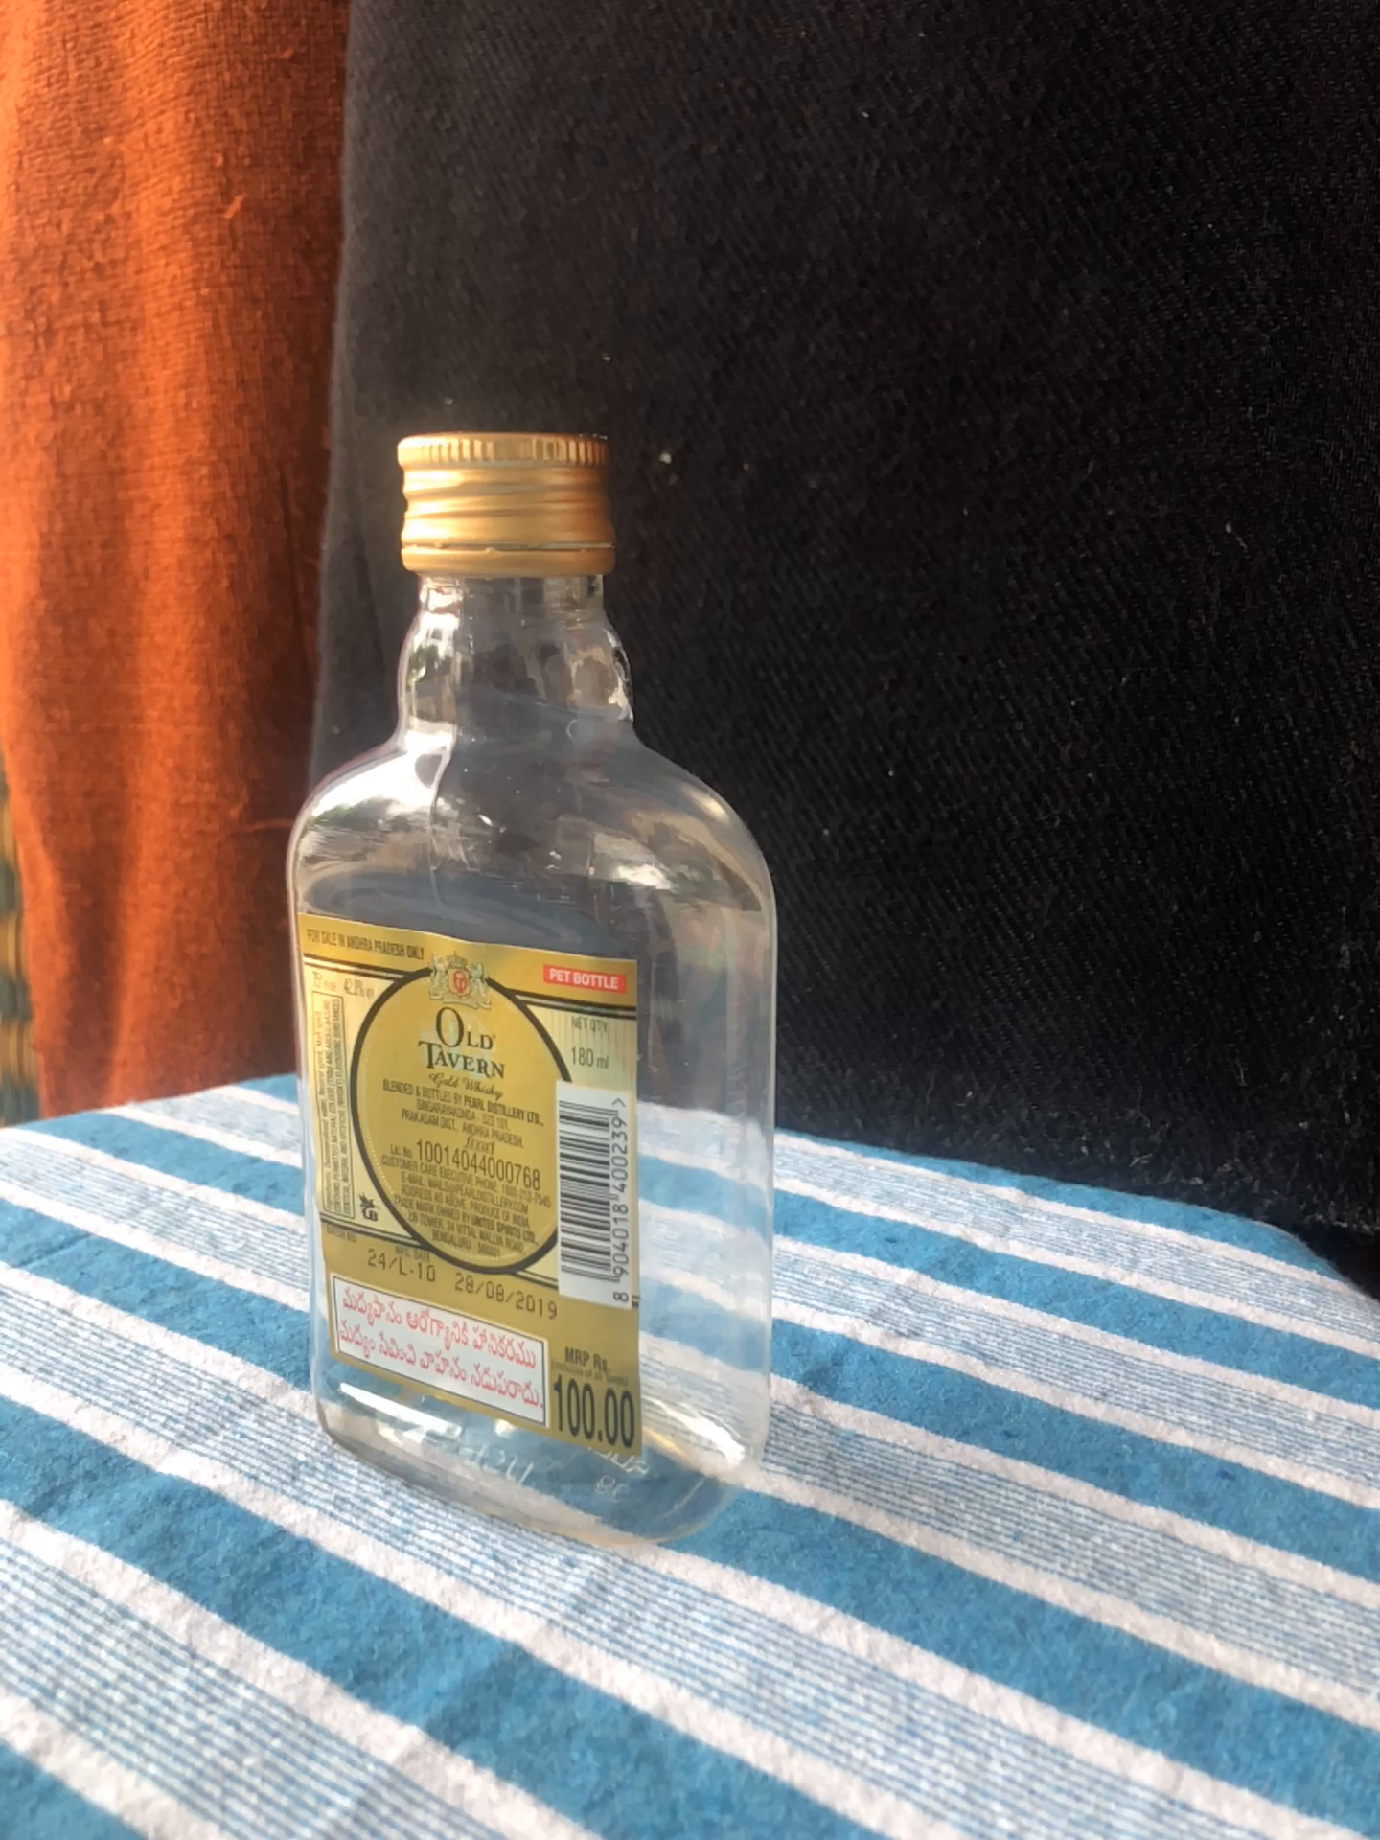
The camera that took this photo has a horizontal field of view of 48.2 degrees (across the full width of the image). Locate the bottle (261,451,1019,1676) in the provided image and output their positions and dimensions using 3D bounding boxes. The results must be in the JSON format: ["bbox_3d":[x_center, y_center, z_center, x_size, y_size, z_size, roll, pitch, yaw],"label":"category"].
[{"bbox_3d":[-0.007,0.012,0.201,0.080,0.139,0.040,10,19,28],"label":"bottle"}]
